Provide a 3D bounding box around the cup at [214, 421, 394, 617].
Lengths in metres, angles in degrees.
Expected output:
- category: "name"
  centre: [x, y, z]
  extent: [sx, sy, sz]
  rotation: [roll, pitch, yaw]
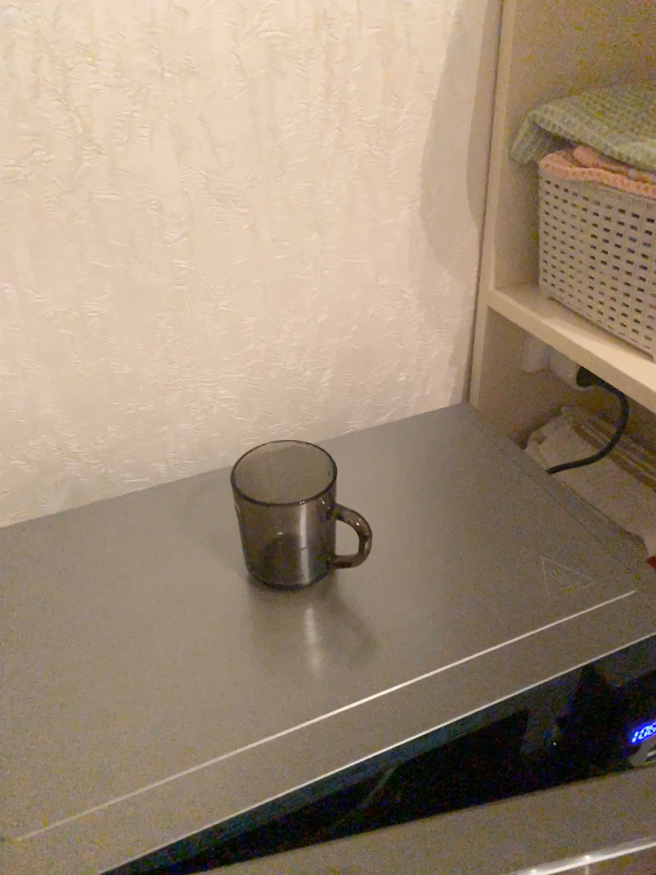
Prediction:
- category: "cup"
  centre: [-0.012, 0.055, 0.478]
  extent: [0.102, 0.094, 0.078]
  rotation: [9, 36, 17]
